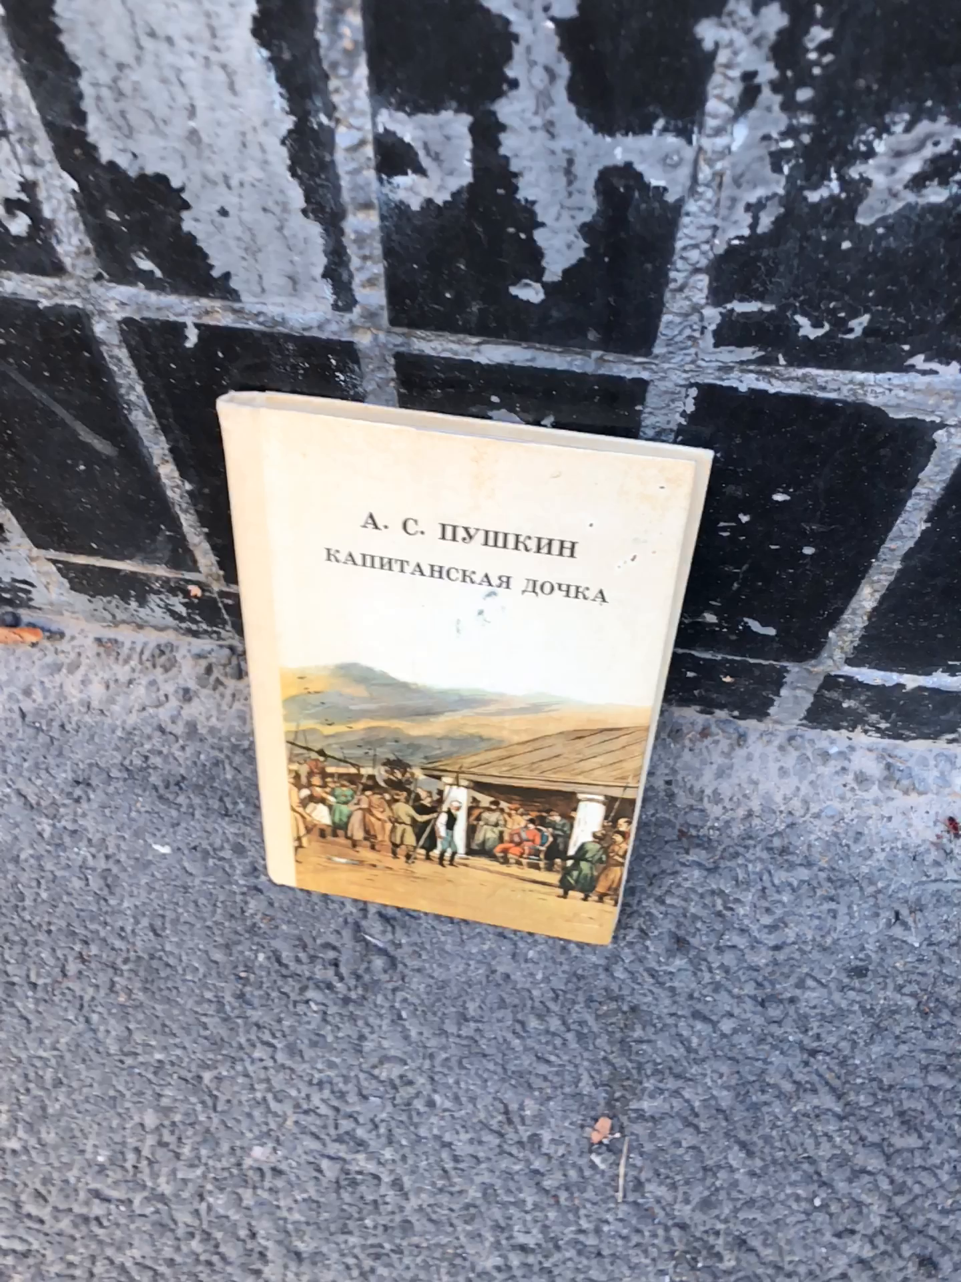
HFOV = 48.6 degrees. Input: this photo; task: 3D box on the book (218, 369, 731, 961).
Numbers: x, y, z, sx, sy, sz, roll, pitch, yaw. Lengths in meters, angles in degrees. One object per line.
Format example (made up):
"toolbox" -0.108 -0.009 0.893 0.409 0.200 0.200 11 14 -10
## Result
"book" -0.009 0.022 0.369 0.145 0.215 0.023 9 38 5
